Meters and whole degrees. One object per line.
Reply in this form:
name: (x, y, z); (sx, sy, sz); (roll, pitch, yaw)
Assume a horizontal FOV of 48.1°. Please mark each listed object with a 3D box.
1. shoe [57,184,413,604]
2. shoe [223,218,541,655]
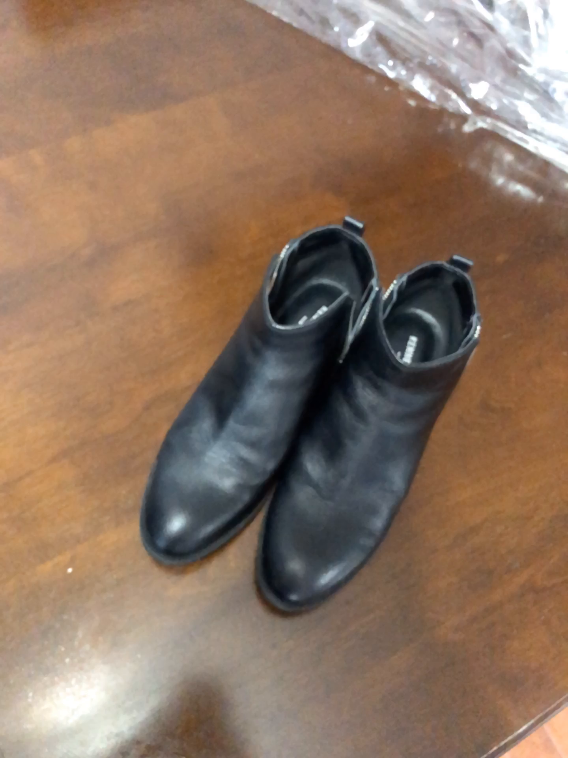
shoe: (-0.024, 0.010, 0.459); (0.100, 0.130, 0.260); (30, 65, 8)
shoe: (0.066, 0.039, 0.445); (0.100, 0.130, 0.260); (27, 65, 7)
